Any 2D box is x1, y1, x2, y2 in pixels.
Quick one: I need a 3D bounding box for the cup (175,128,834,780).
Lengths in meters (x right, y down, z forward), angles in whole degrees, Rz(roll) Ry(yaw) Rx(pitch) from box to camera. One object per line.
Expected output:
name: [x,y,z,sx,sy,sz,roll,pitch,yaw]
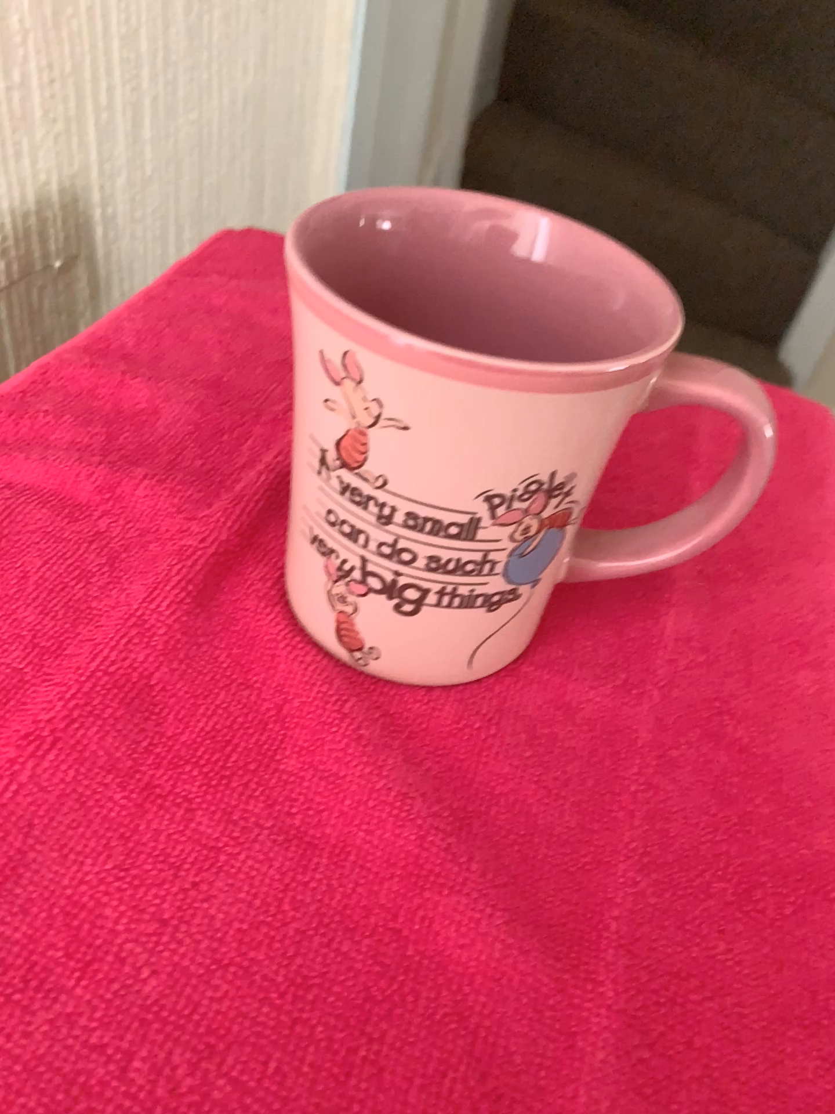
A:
cup: [0.018,-0.028,0.229,0.130,0.109,0.091,16,41,4]
